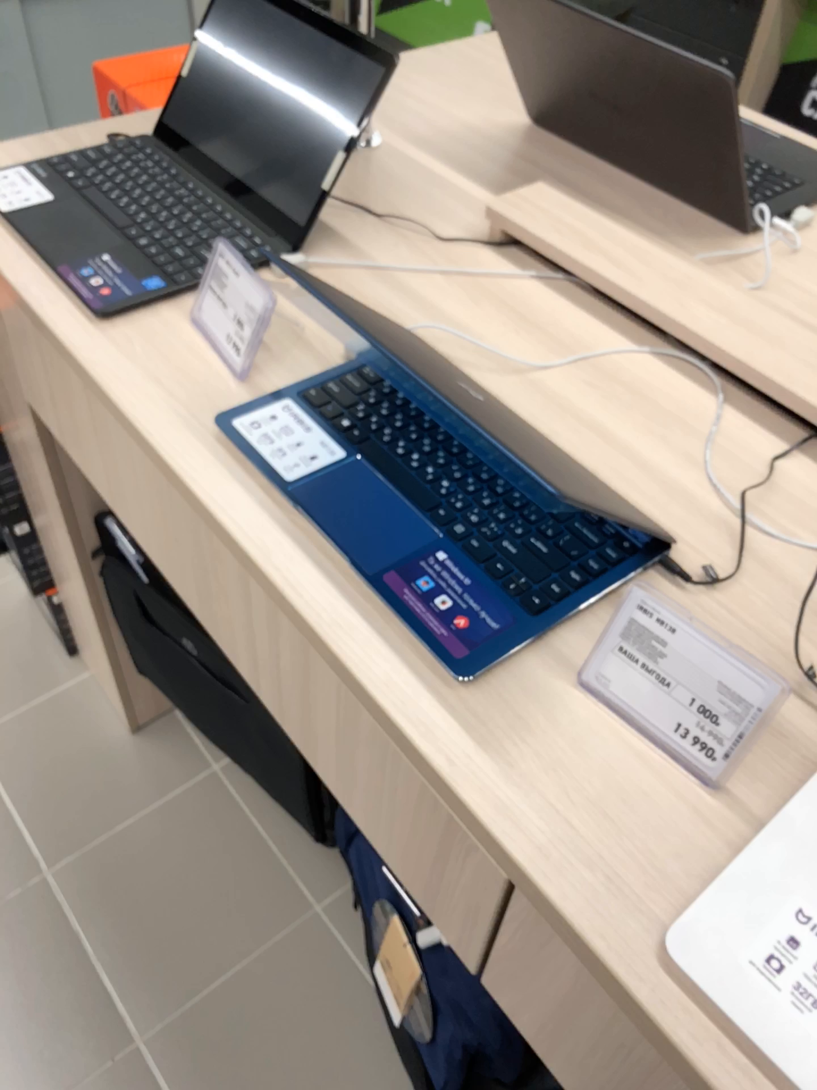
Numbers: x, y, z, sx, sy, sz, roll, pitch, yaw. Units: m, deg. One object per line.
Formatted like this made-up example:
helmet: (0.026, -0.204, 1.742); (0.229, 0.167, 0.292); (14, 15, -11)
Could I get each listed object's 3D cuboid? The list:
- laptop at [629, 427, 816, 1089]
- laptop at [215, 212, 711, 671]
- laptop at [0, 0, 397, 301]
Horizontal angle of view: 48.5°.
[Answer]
laptop: (0.365, 0.164, 0.375); (0.303, 0.212, 0.340); (-28, 53, -26)
laptop: (0.022, -0.095, 0.668); (0.189, 0.124, 0.309); (-28, 54, -24)
laptop: (-0.240, -0.436, 0.929); (0.323, 0.165, 0.294); (-27, 55, -26)
